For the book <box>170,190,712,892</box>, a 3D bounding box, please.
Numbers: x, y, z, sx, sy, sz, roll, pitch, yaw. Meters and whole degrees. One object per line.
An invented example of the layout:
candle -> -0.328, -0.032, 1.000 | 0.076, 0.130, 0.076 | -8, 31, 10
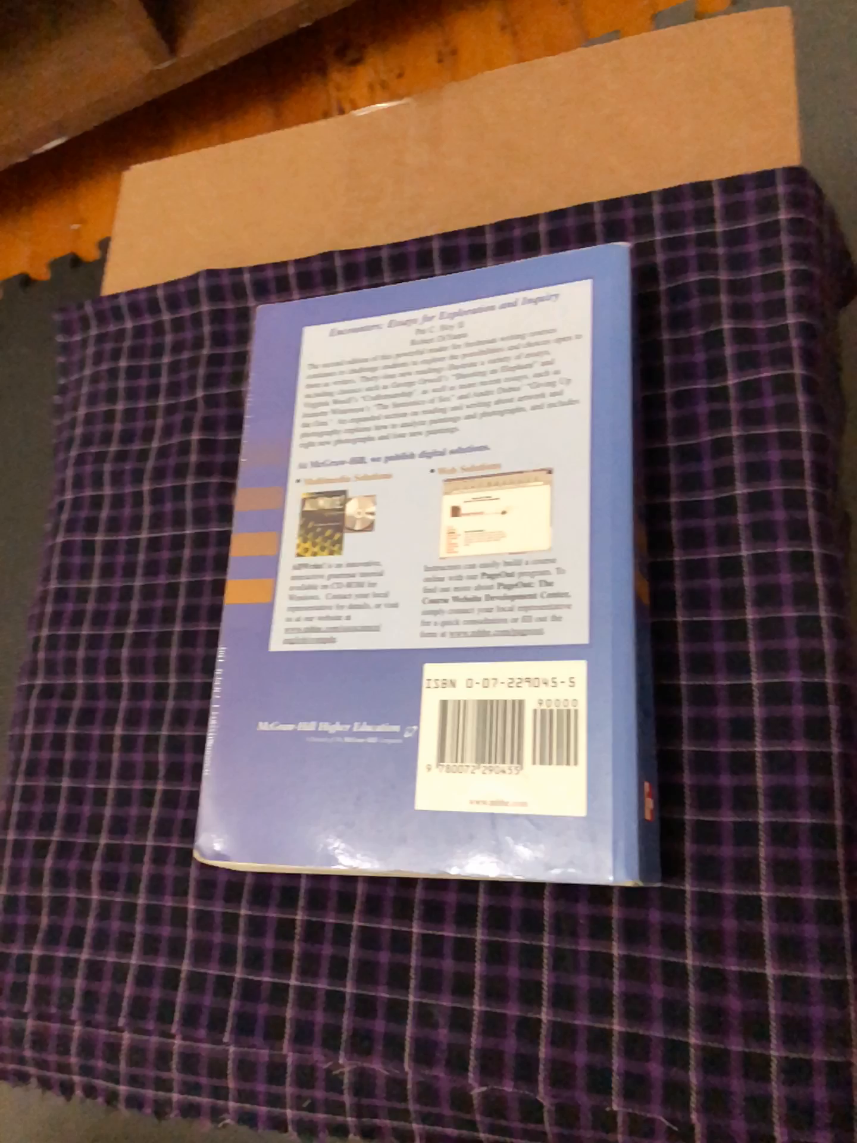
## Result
book -> 0.004, -0.010, 0.356 | 0.180, 0.040, 0.240 | -5, 71, 21
